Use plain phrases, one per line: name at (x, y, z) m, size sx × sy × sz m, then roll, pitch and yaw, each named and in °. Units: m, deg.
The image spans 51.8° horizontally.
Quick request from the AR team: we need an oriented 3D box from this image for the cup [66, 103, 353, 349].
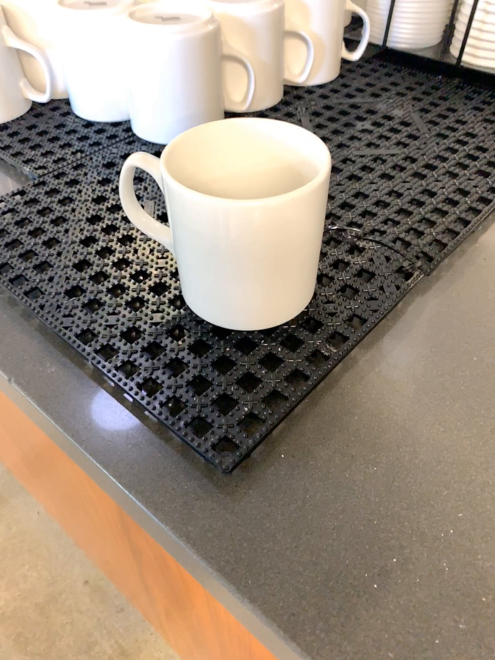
cup at (-0.014, -0.062, 0.286) m, size 0.120 × 0.080 × 0.090 m, roll 13°, pitch 48°, yaw 14°
